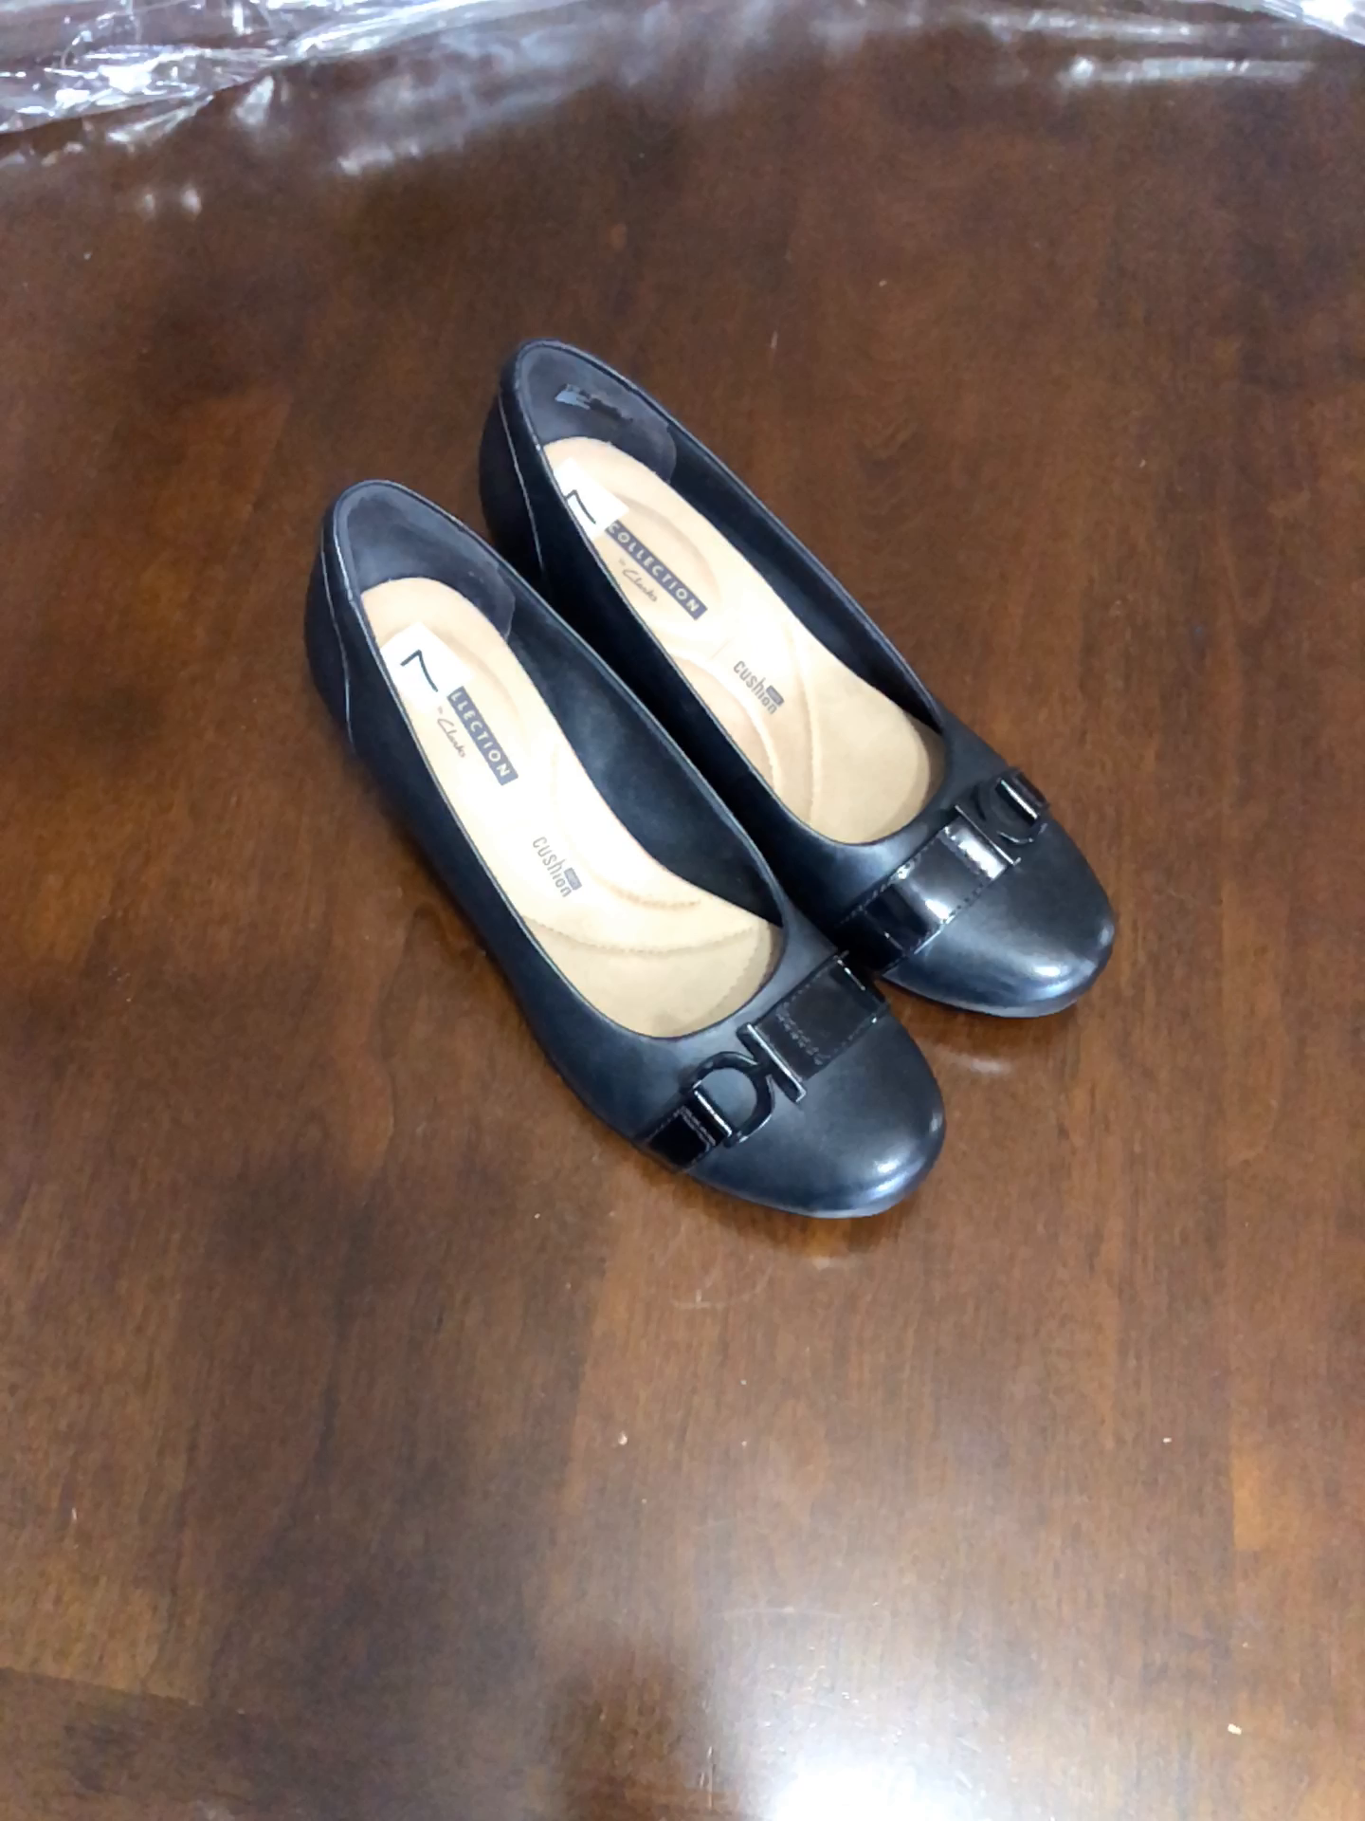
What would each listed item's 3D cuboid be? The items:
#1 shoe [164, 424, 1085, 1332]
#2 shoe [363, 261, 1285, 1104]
[{"bbox_3d":[-0.023,-0.011,0.441,0.090,0.110,0.250,-42,70,-19],"label":"shoe"},{"bbox_3d":[0.032,-0.071,0.461,0.250,0.110,0.090,38,69,18],"label":"shoe"}]
